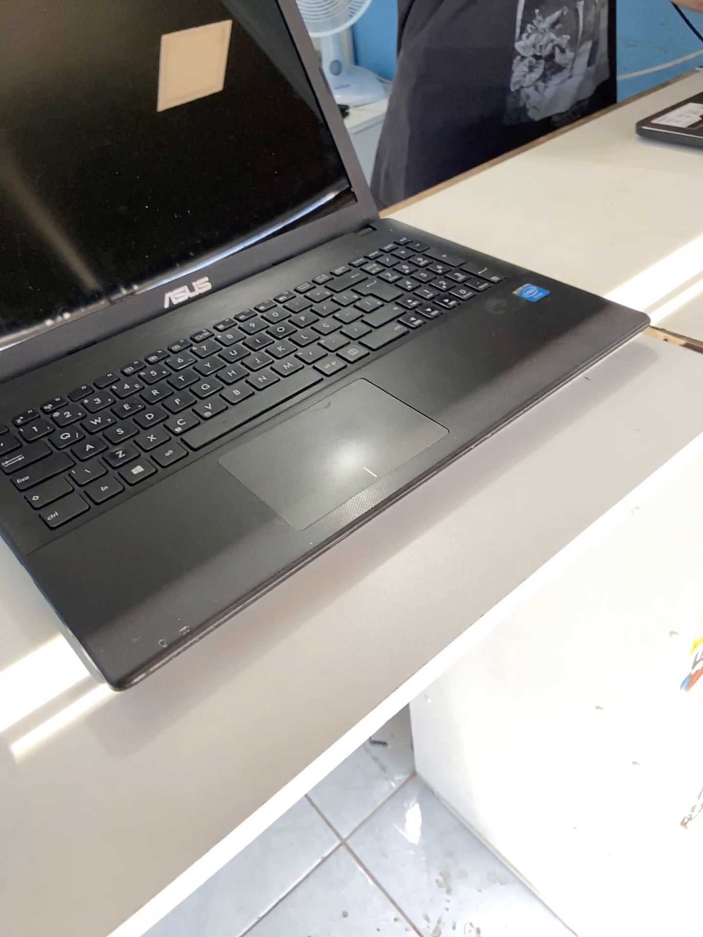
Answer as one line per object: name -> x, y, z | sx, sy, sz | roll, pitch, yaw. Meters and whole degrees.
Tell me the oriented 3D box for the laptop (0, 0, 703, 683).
laptop -> -0.082, -0.164, 0.413 | 0.368, 0.201, 0.362 | -33, 47, -25
